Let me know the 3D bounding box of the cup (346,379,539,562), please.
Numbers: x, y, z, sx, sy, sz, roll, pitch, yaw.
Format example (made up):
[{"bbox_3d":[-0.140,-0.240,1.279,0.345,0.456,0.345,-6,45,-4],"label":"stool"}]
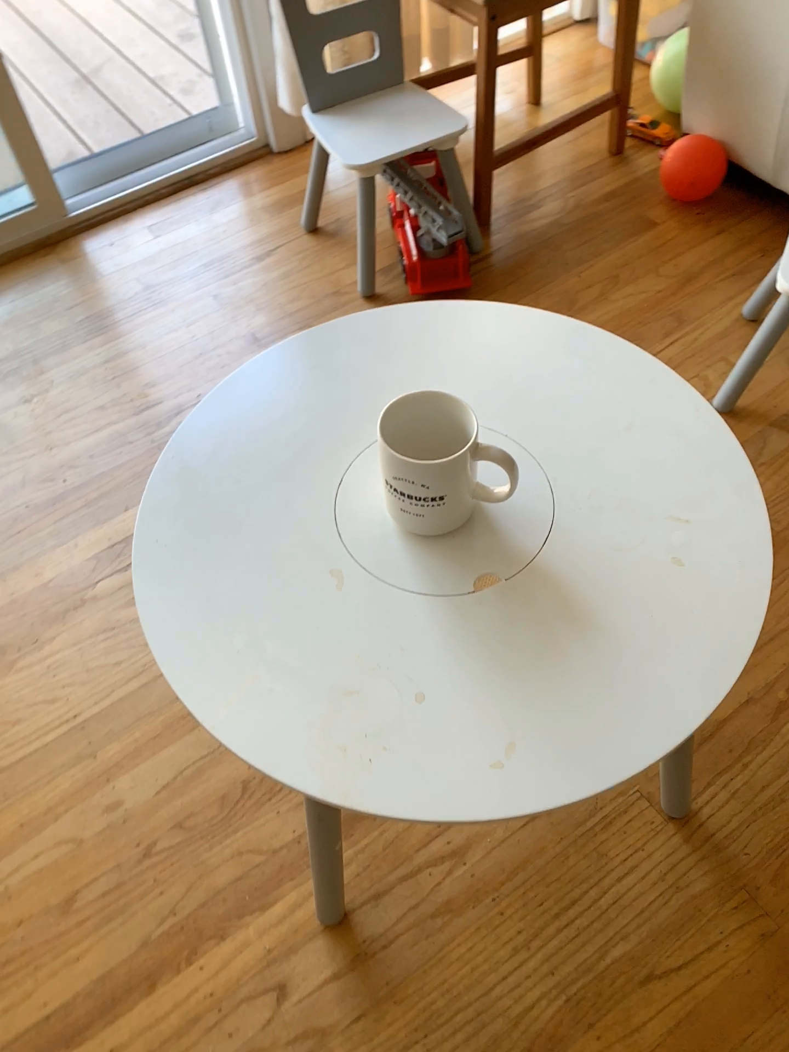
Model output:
[{"bbox_3d":[0.043,-0.046,0.692,0.140,0.110,0.090,8,56,10],"label":"cup"}]
